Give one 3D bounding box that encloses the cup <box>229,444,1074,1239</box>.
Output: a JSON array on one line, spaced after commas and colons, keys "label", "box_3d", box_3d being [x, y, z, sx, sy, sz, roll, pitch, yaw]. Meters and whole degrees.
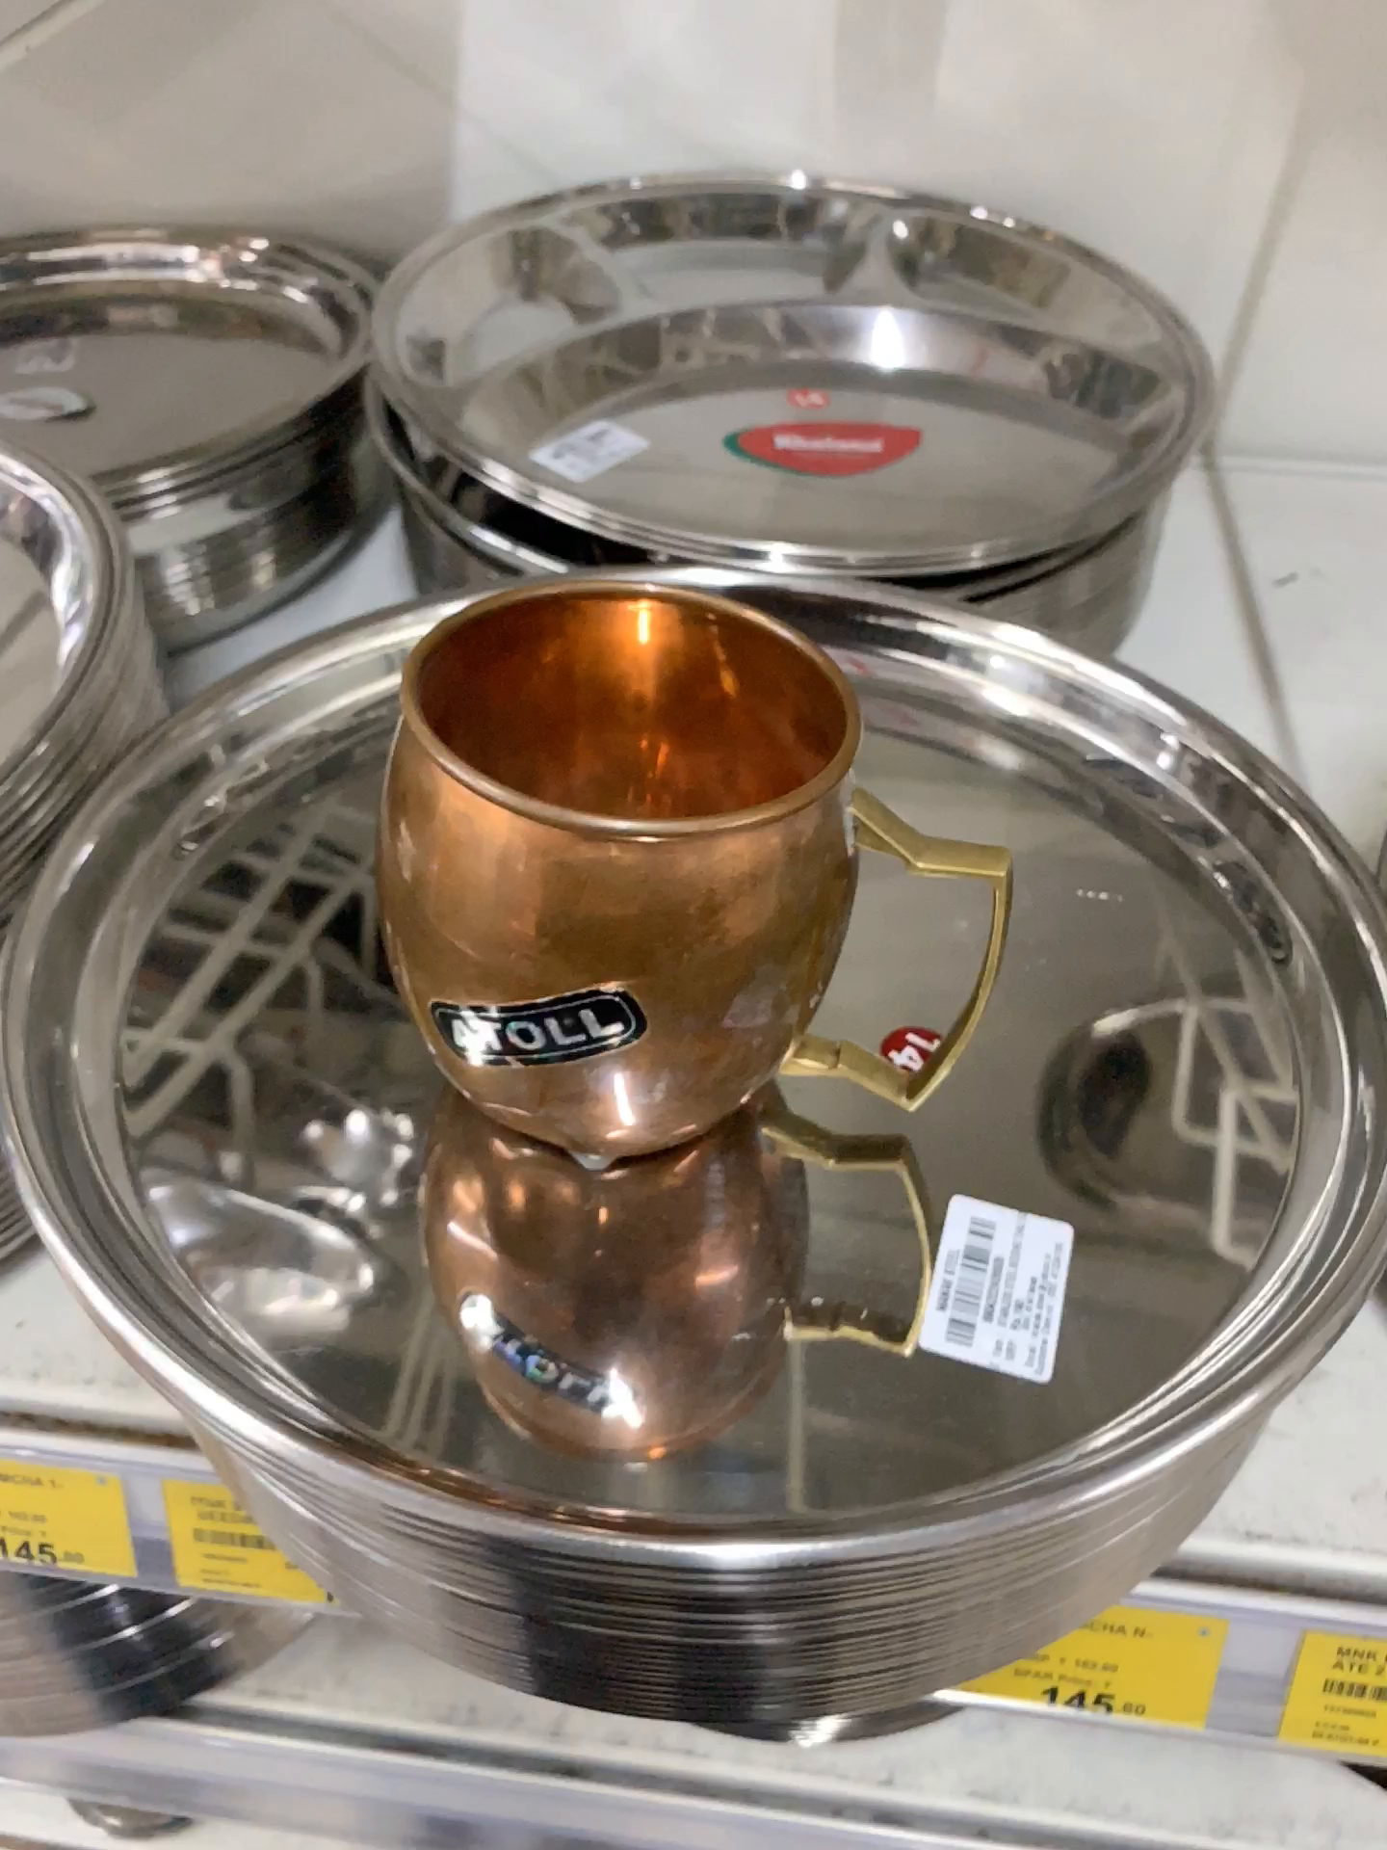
[{"label": "cup", "box_3d": [-0.003, -0.018, 0.272, 0.120, 0.090, 0.090, 13, 46, 8]}]
